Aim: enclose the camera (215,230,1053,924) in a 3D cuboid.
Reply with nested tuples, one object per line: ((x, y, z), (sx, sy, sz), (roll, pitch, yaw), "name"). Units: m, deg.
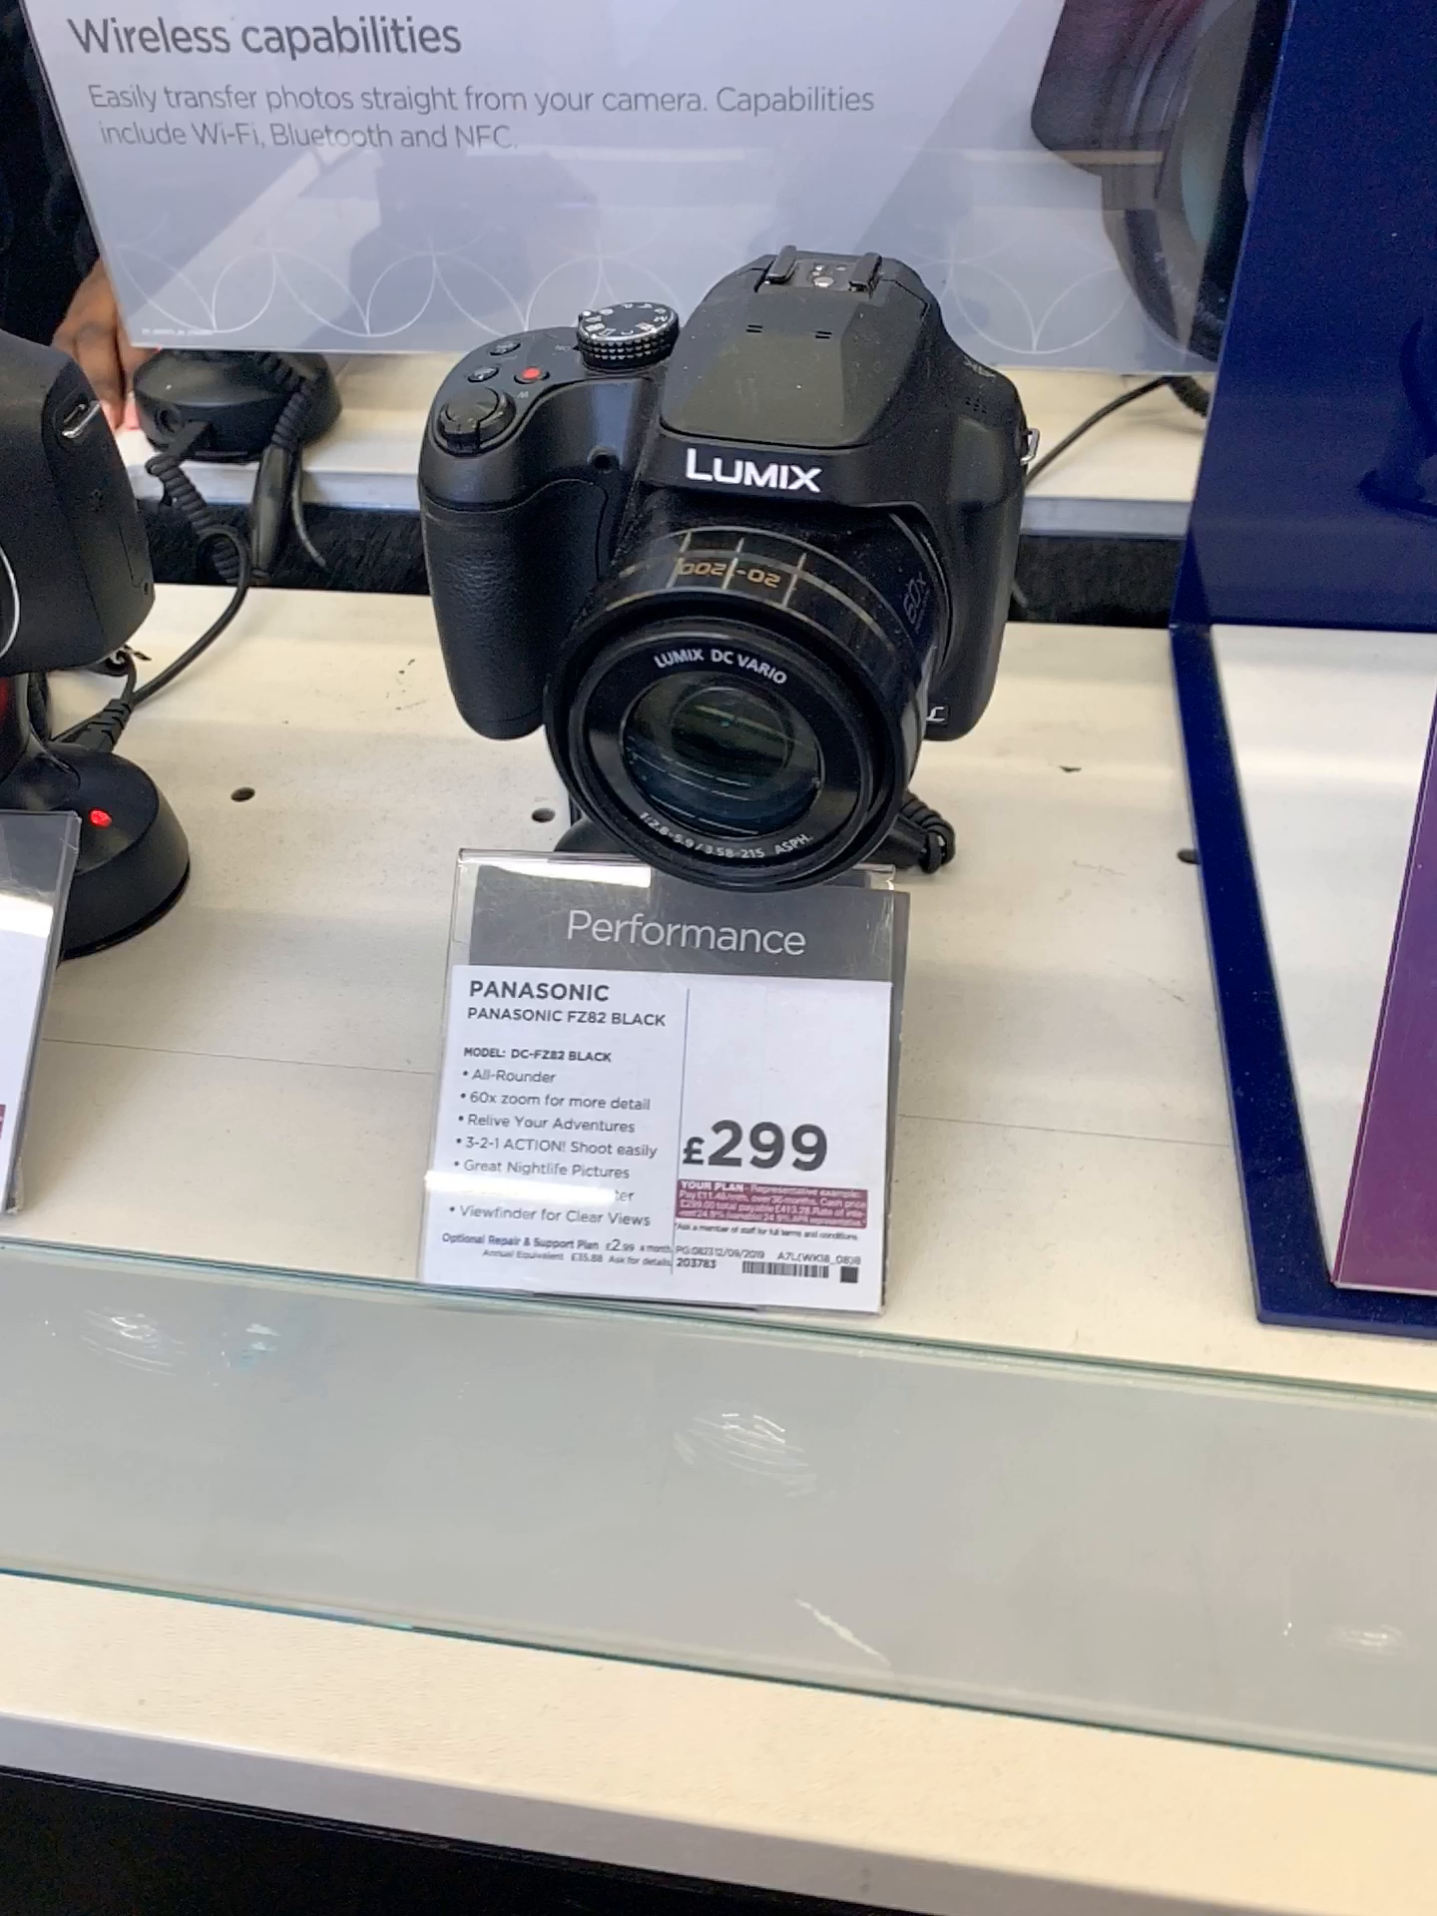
((-0.005, -0.084, 0.302), (0.130, 0.079, 0.121), (7, 44, 10), "camera")
